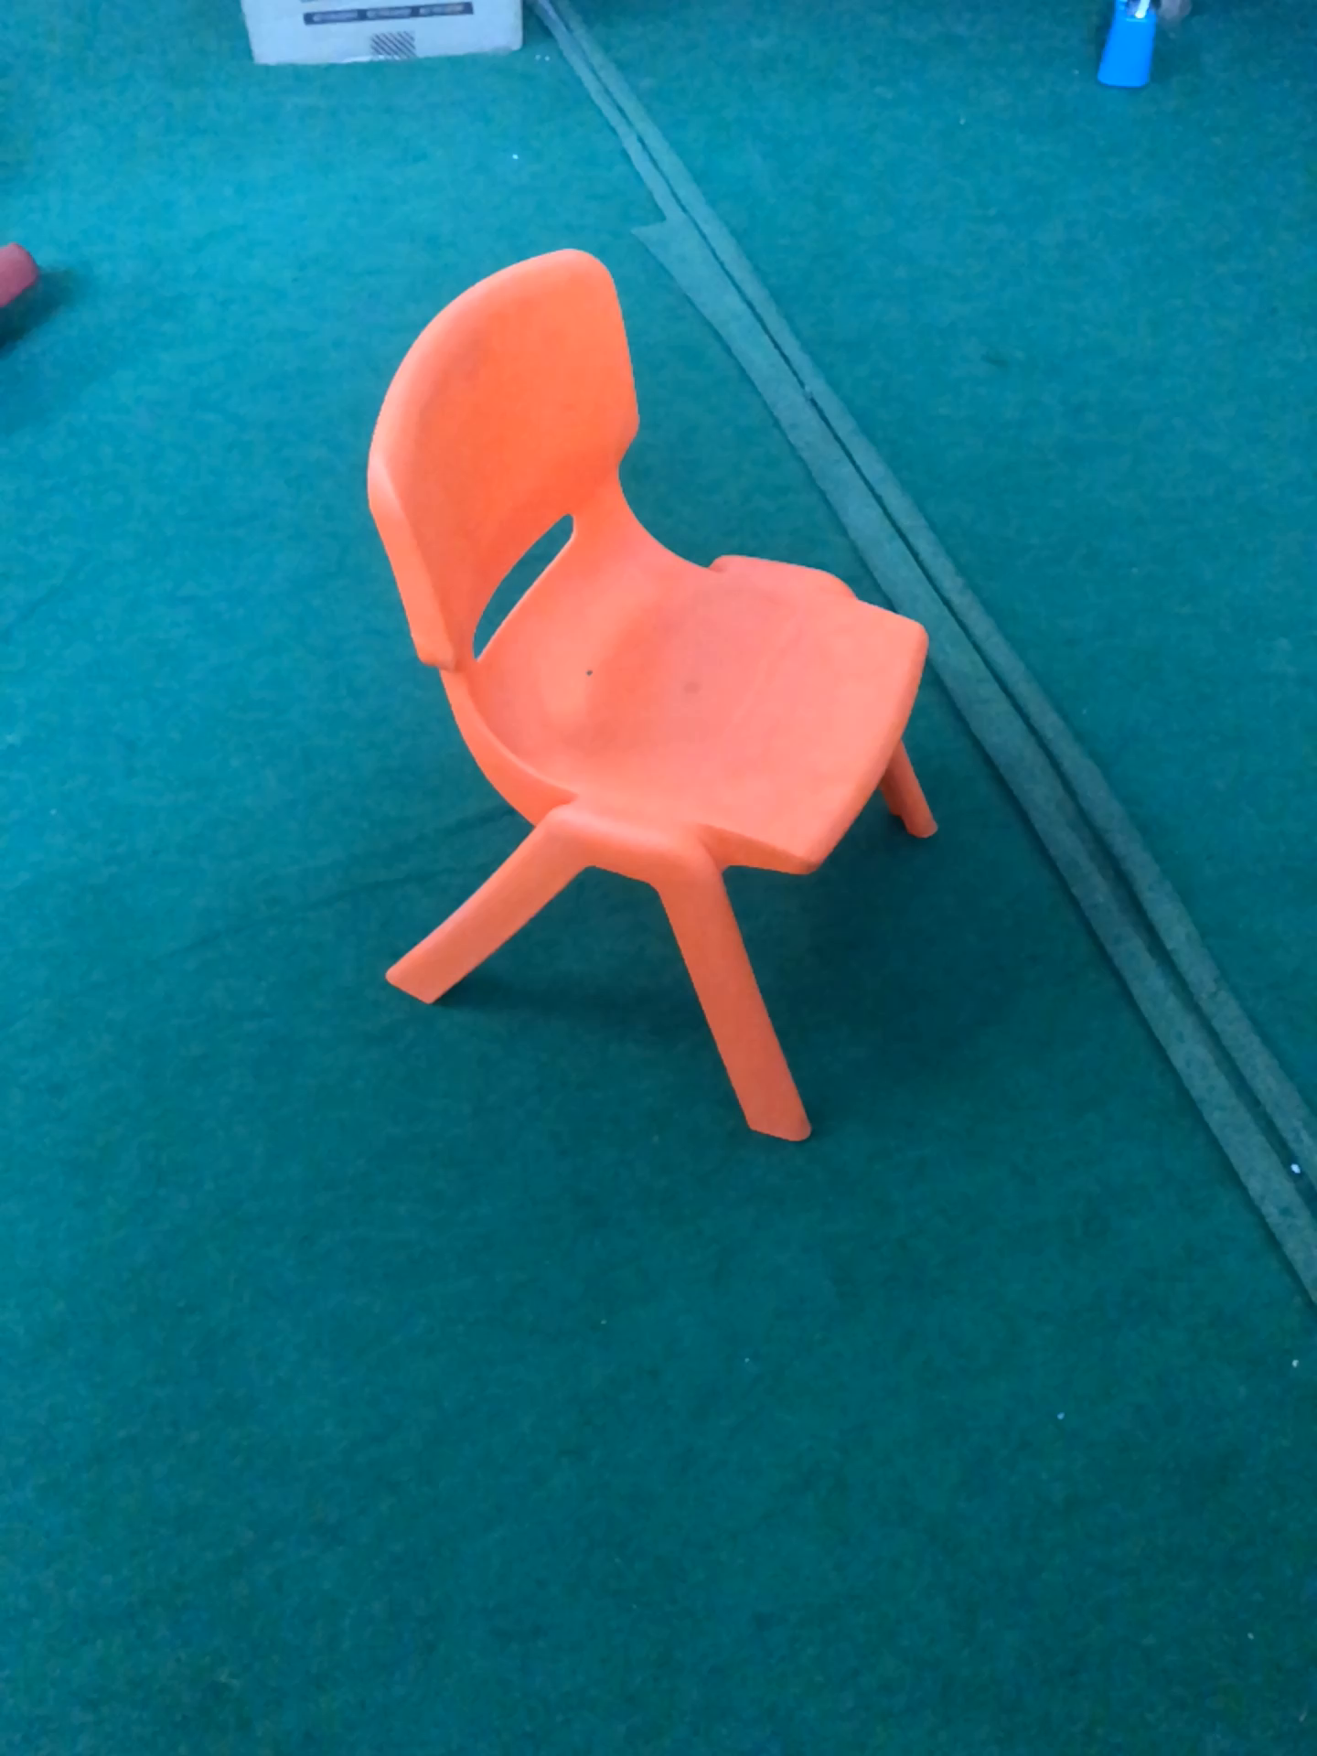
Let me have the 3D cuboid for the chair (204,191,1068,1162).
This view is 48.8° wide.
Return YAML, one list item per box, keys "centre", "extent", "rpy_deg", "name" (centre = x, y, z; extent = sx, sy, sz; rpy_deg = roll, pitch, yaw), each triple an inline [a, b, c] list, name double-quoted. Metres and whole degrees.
- centre: [0.005, -0.134, 1.025]
  extent: [0.390, 0.479, 0.361]
  rpy_deg: [18, 52, 15]
  name: "chair"
